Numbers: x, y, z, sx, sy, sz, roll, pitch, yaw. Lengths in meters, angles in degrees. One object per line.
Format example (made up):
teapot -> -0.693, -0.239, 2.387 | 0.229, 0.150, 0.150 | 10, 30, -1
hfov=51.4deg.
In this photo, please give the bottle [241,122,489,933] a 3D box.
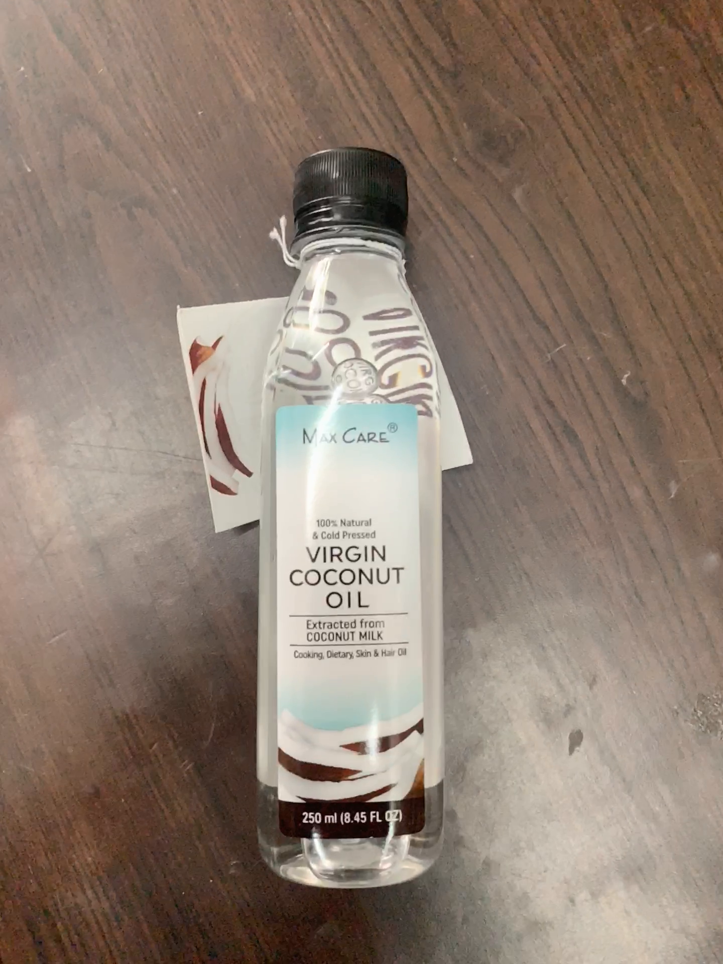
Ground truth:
bottle -> 0.001, 0.008, 0.183 | 0.050, 0.050, 0.170 | 1, 85, -2
